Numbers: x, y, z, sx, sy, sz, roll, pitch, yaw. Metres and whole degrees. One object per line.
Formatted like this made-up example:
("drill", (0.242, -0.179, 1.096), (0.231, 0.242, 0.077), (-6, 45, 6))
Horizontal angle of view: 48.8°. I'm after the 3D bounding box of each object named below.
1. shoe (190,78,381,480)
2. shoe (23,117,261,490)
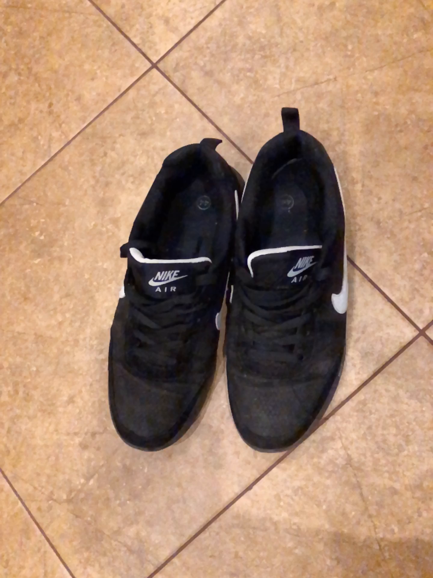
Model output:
("shoe", (0.064, -0.011, 0.418), (0.120, 0.120, 0.300), (4, 81, 10))
("shoe", (-0.050, 0.010, 0.424), (0.110, 0.120, 0.270), (13, 83, 11))
